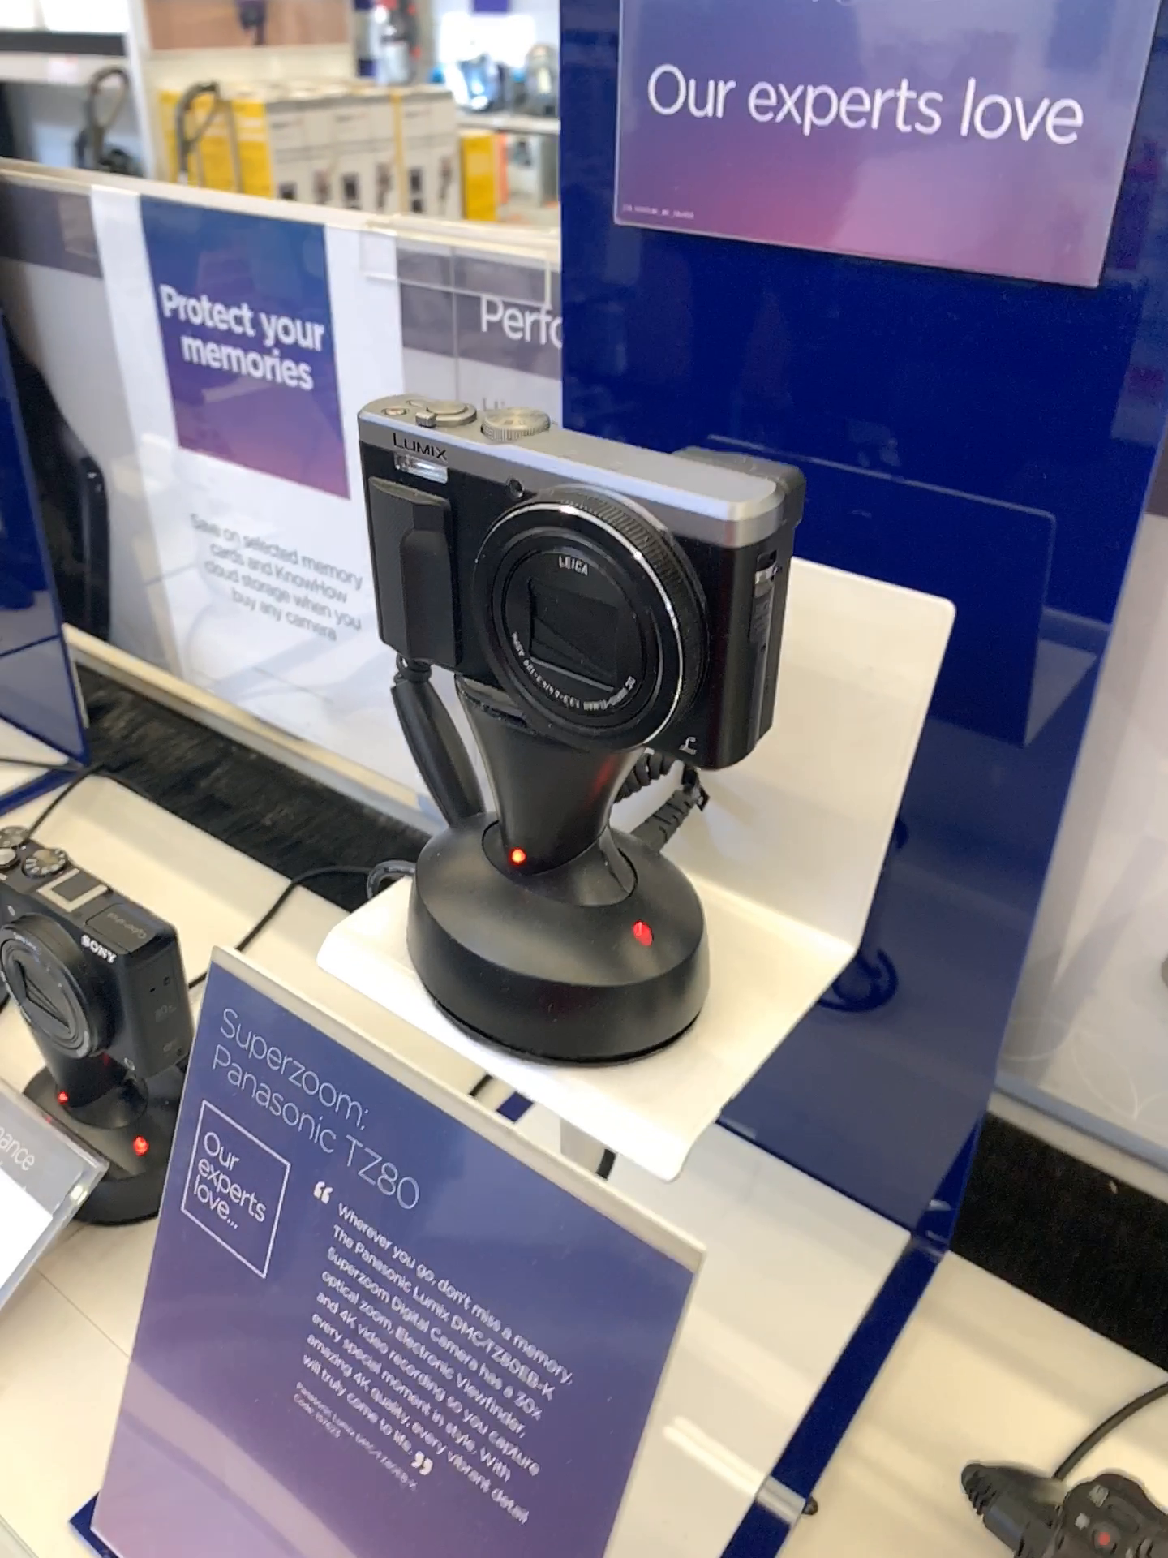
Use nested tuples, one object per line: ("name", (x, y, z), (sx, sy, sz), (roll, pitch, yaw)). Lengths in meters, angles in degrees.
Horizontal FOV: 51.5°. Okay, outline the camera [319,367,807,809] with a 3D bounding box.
("camera", (-0.009, -0.048, 0.283), (0.110, 0.069, 0.030), (23, 38, 28))
